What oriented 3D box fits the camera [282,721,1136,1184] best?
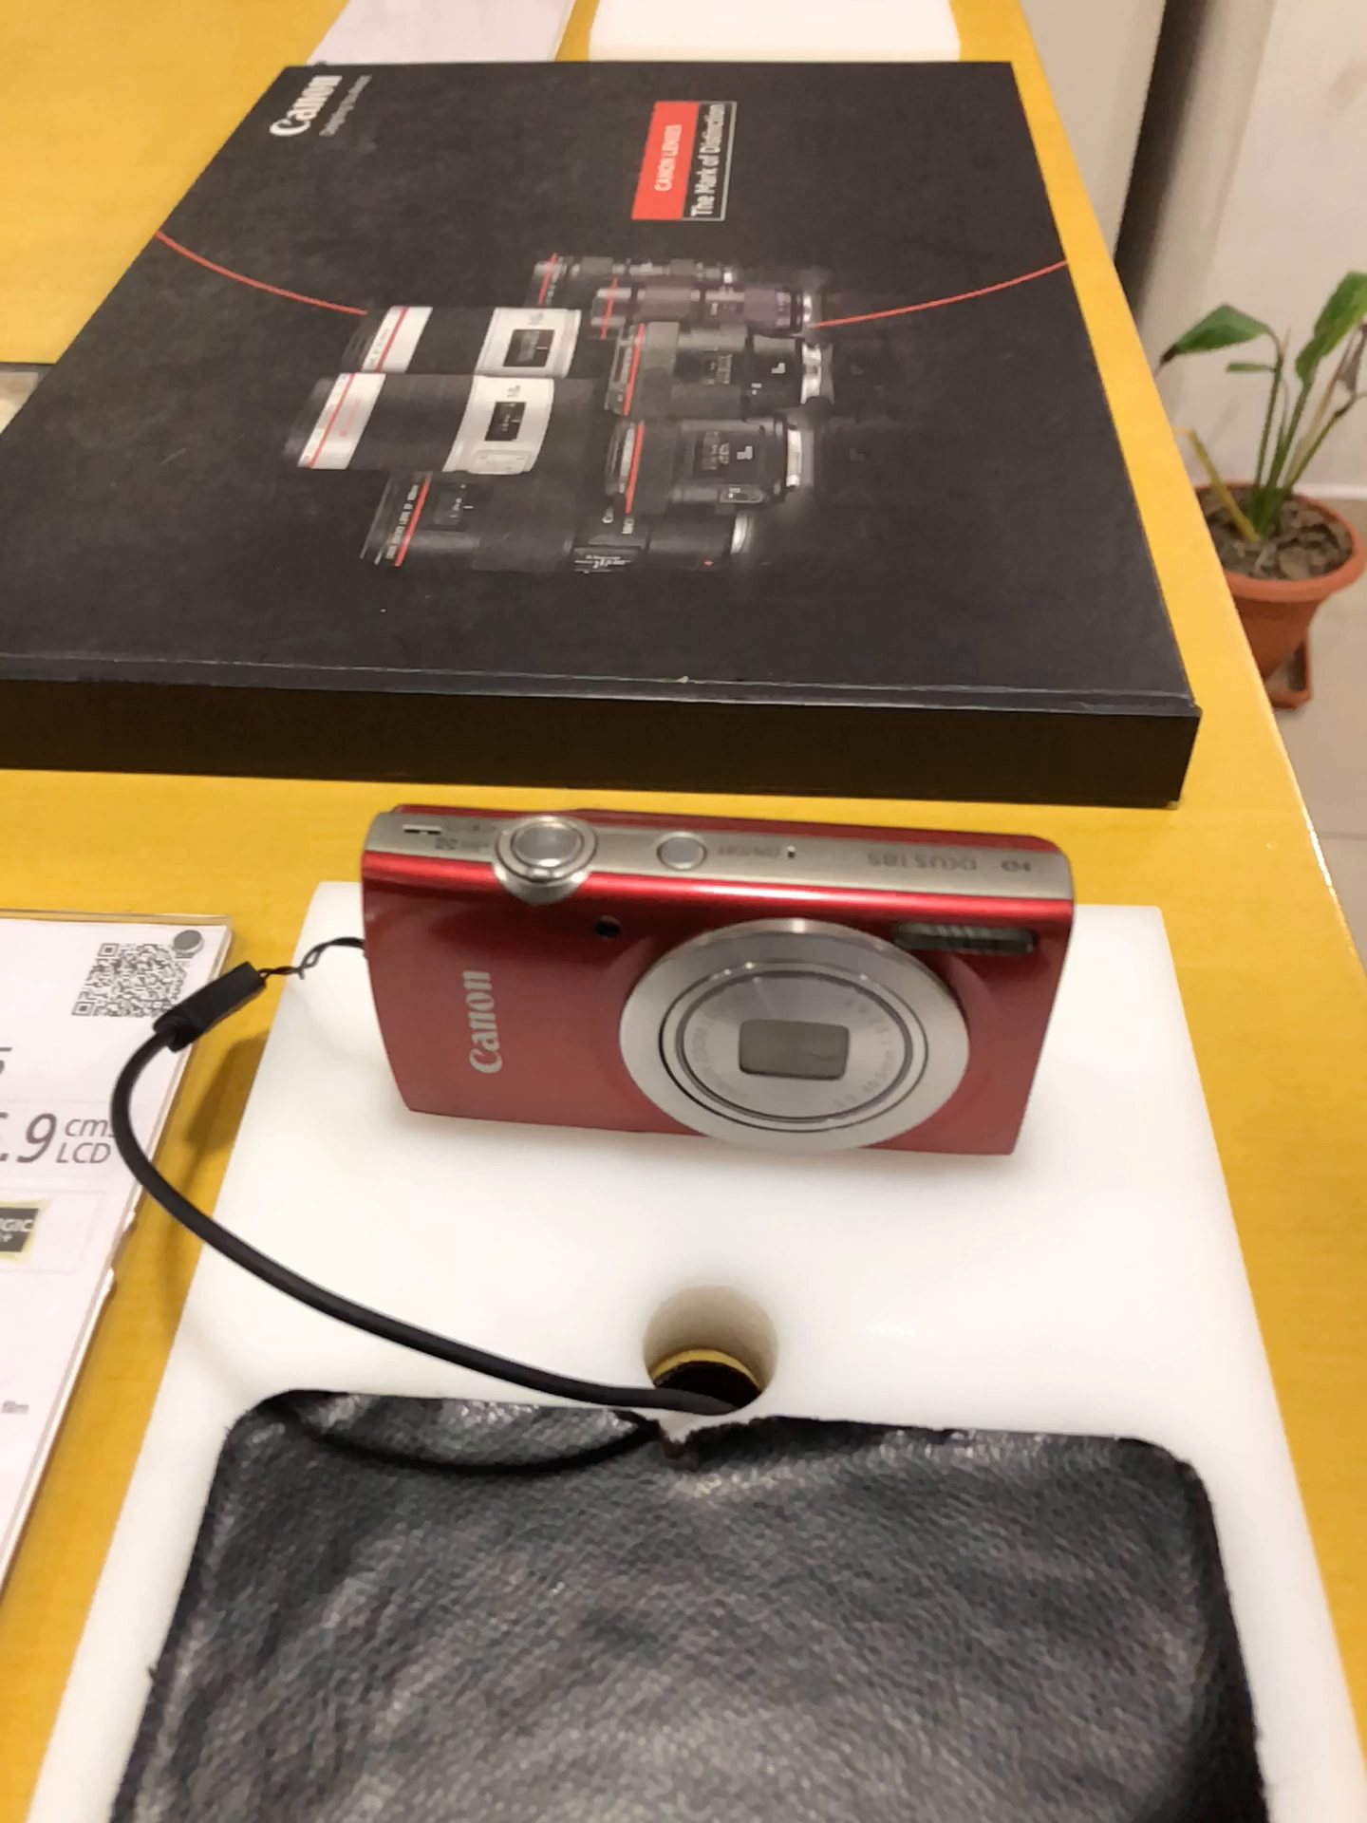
[{"bbox_3d":[0.003,0.006,0.206,0.100,0.050,0.030,4,45,3],"label":"camera"}]
